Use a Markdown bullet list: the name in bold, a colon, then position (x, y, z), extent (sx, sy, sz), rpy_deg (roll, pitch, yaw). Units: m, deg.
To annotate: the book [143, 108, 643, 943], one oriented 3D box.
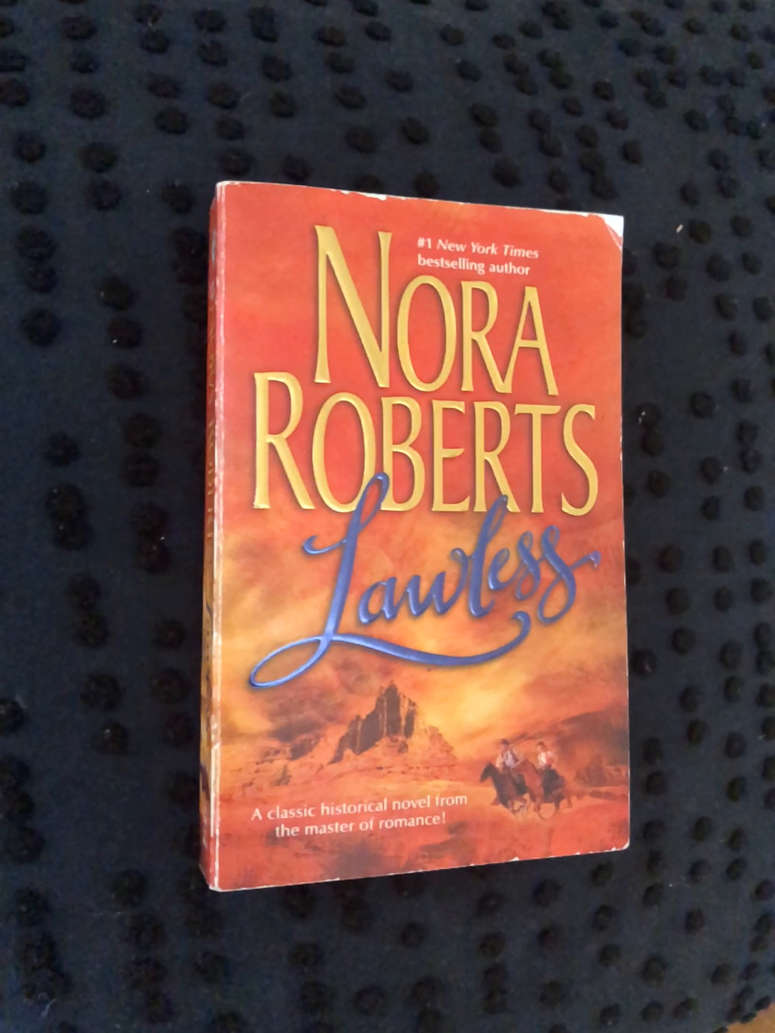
- **book**: position (0.000, 0.000, 0.225), extent (0.120, 0.040, 0.180), rpy_deg (1, 85, -21)
